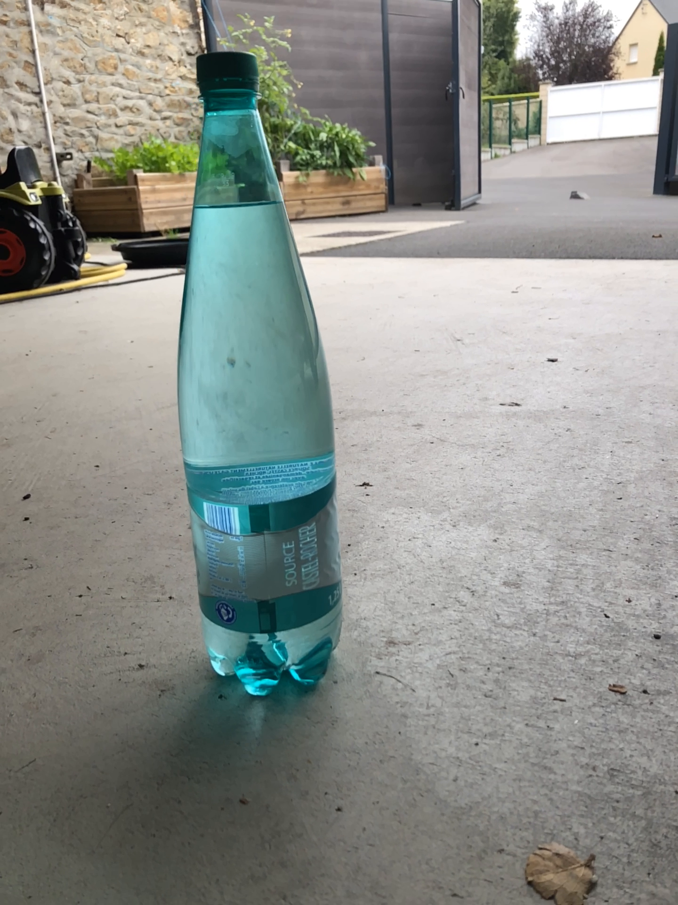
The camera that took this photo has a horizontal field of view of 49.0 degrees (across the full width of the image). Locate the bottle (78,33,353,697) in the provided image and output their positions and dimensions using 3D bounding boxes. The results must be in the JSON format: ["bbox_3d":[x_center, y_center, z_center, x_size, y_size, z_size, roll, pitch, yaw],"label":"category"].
[{"bbox_3d":[-0.050,-0.034,0.403,0.090,0.319,0.101,-1,19,6],"label":"bottle"}]
